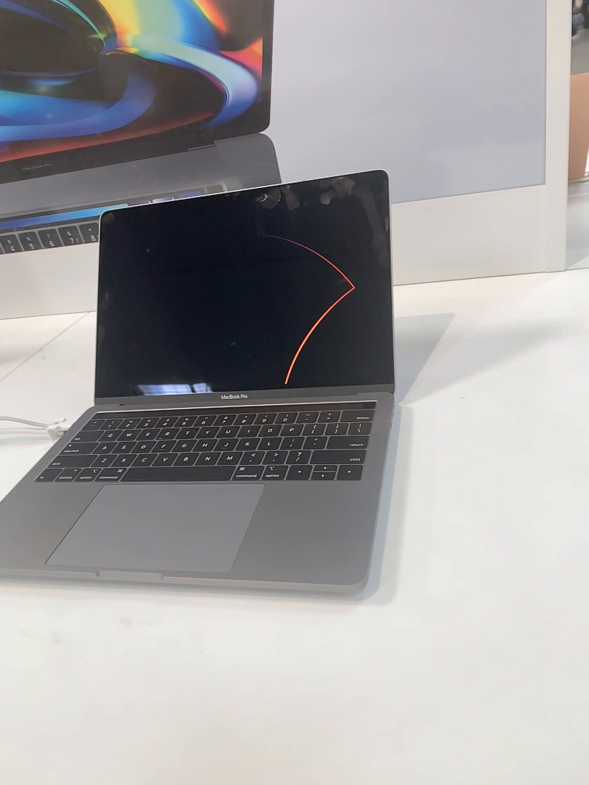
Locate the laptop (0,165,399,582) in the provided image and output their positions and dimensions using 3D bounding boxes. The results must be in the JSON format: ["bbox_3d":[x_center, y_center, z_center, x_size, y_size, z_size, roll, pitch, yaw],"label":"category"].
[{"bbox_3d":[-0.084,-0.039,0.465,0.284,0.150,0.316,-3,31,17],"label":"laptop"}]
